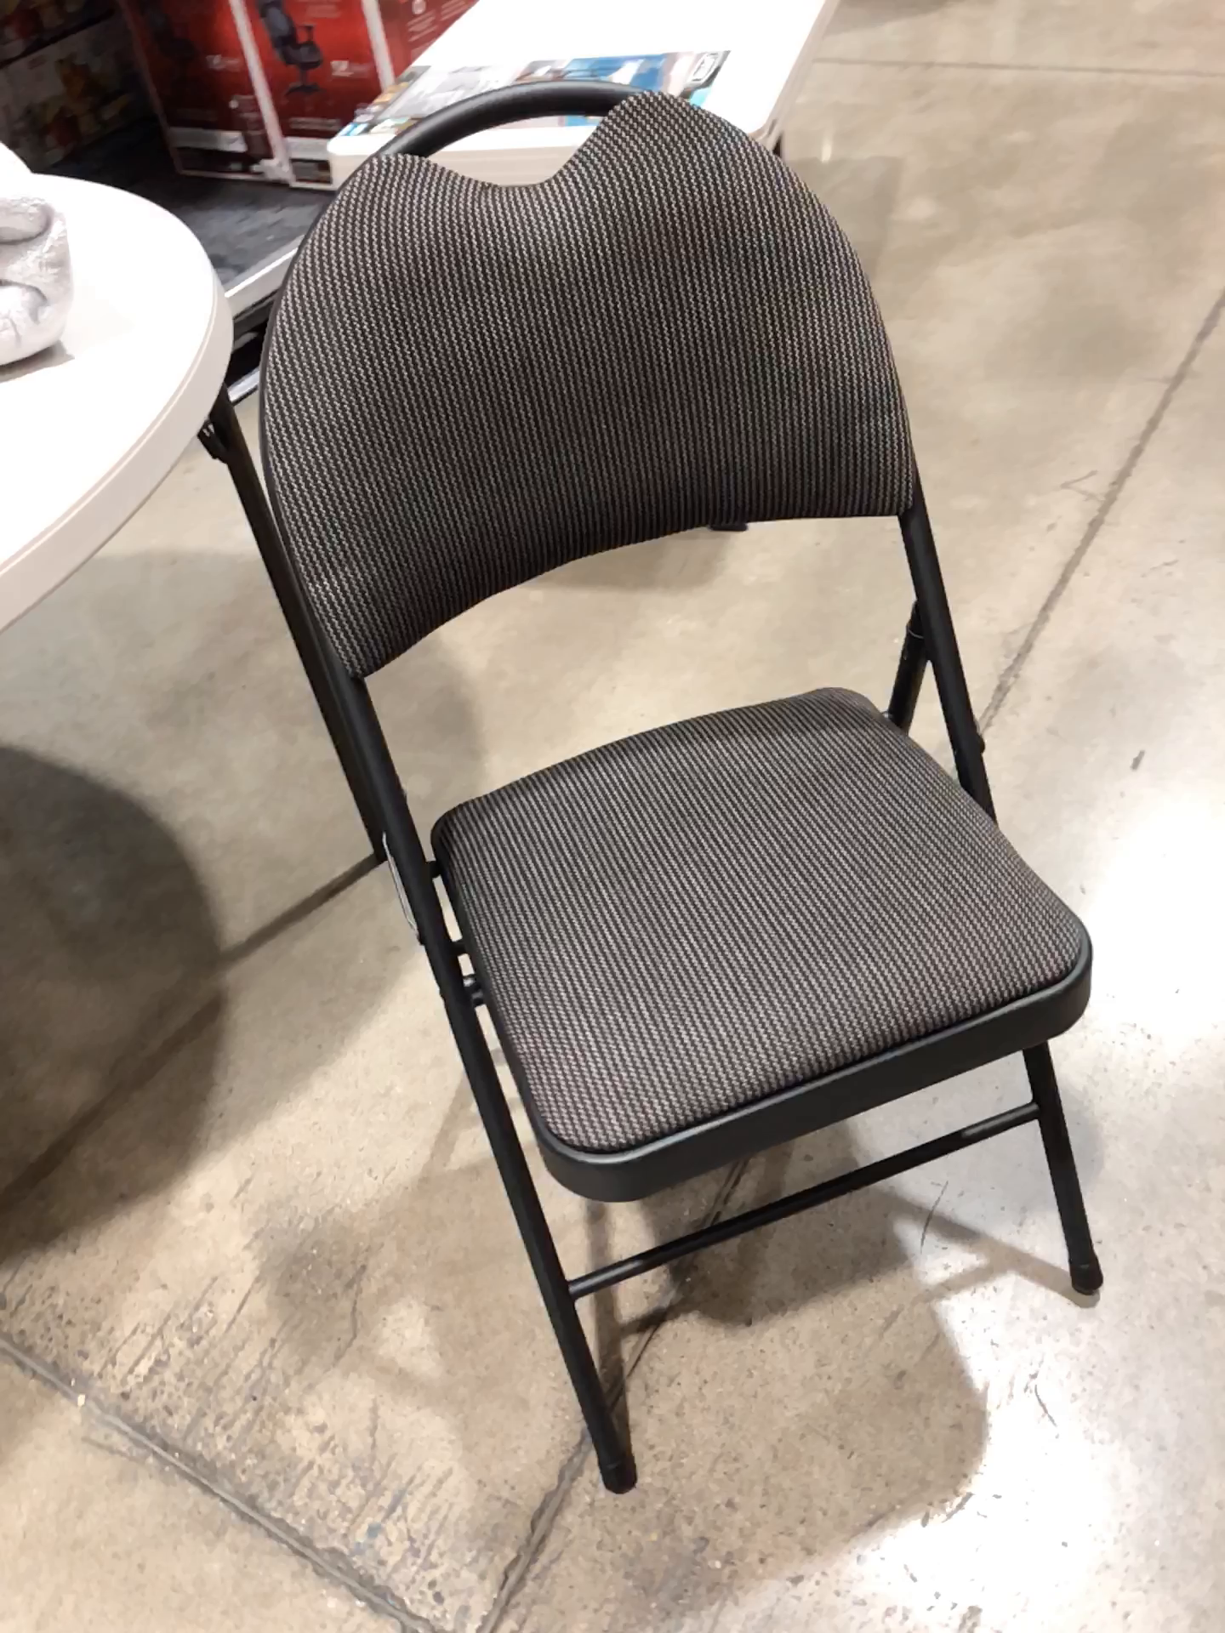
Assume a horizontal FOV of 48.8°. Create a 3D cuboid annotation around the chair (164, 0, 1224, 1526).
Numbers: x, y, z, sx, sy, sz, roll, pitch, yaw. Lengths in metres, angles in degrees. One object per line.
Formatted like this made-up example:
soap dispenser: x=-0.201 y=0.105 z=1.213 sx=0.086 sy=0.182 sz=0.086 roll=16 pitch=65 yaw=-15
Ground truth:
chair: x=0.094 y=-0.014 z=0.975 sx=0.510 sy=0.857 sz=0.562 roll=-17 pitch=44 yaw=-8
